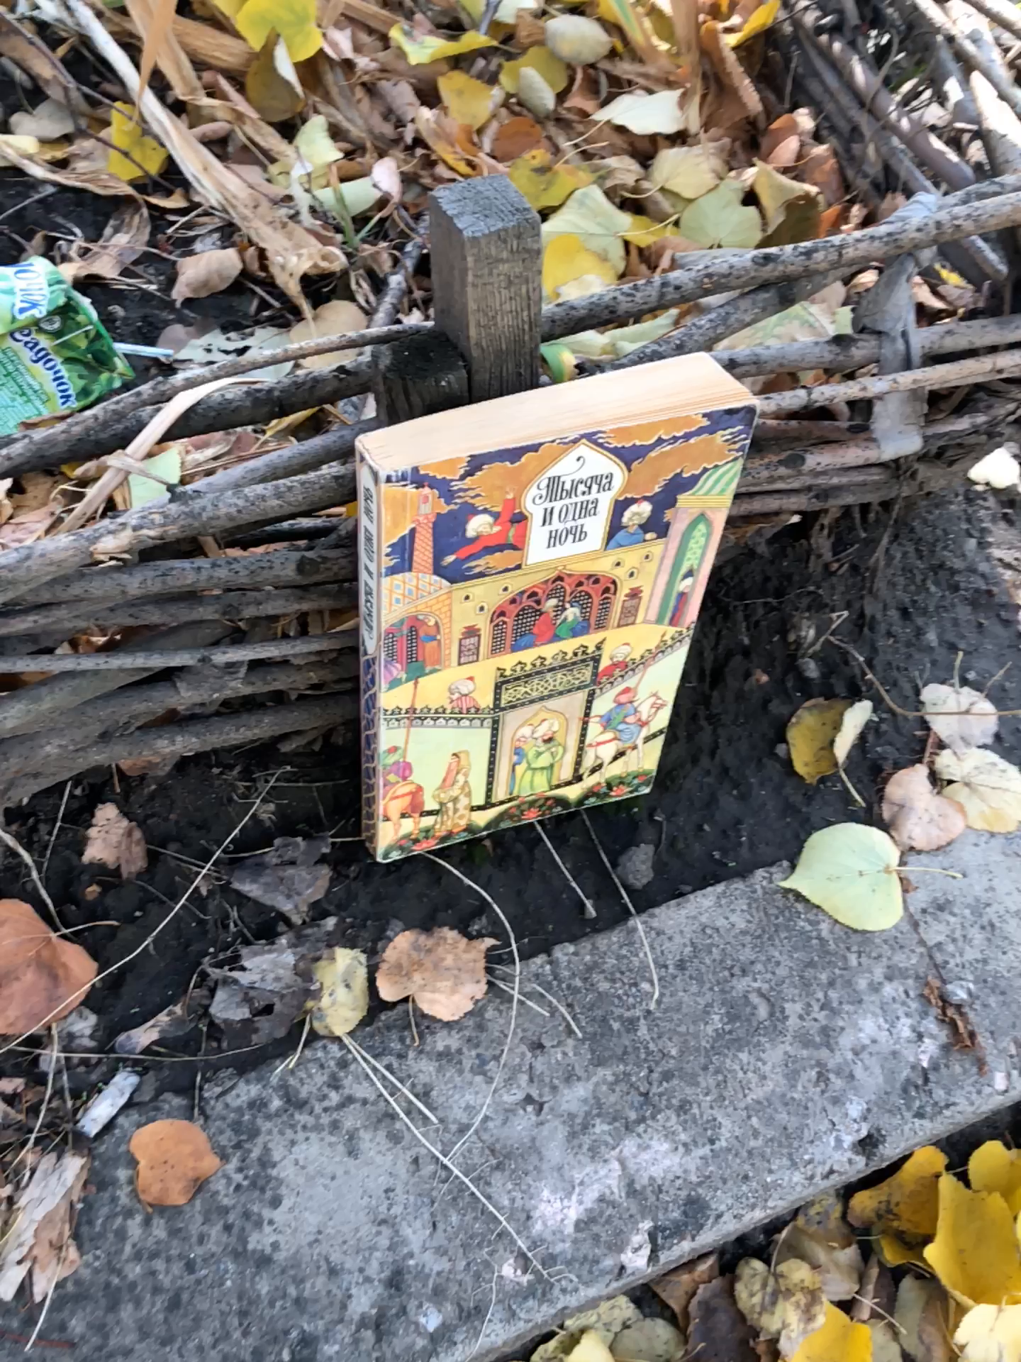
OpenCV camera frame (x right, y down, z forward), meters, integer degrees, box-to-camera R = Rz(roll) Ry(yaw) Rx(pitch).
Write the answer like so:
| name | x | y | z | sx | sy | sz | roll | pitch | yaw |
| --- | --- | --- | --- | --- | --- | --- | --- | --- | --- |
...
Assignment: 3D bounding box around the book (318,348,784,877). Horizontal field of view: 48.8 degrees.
| name | x | y | z | sx | sy | sz | roll | pitch | yaw |
| --- | --- | --- | --- | --- | --- | --- | --- | --- | --- |
| book | 0.008 | -0.012 | 0.369 | 0.123 | 0.182 | 0.029 | -12 | 49 | -14 |
